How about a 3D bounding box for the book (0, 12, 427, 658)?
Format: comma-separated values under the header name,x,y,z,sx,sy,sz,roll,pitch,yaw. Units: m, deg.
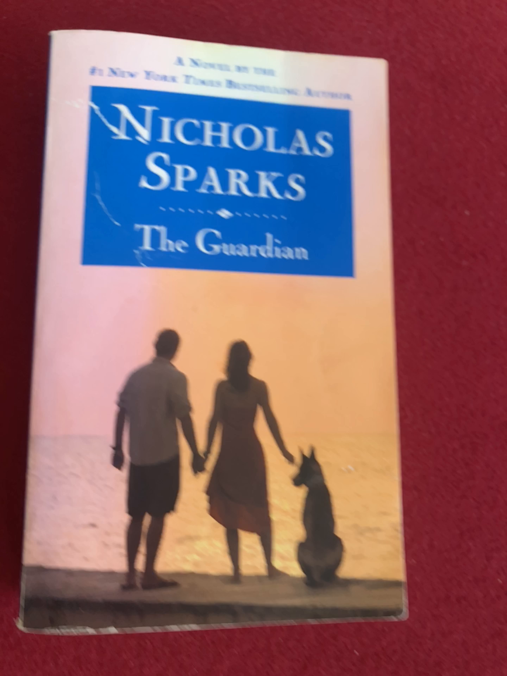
name,x,y,z,sx,sy,sz,roll,pitch,yaw
book,-0.010,-0.004,0.171,0.110,0.030,0.170,3,80,-8
